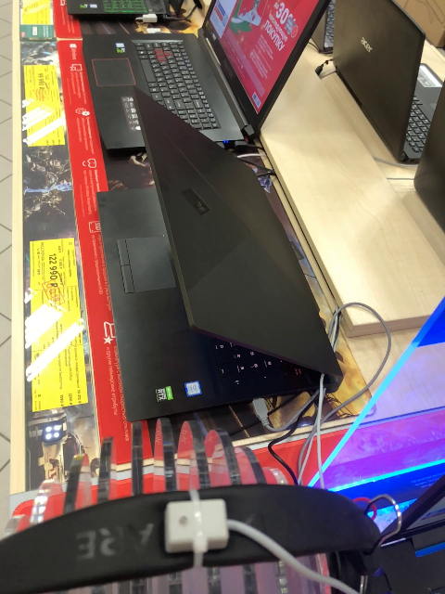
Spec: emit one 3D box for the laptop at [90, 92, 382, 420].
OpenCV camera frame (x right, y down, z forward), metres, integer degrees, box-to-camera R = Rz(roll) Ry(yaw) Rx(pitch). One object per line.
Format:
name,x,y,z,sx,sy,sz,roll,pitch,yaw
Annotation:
laptop,-0.021,-0.082,0.640,0.258,0.166,0.396,-7,53,-13
